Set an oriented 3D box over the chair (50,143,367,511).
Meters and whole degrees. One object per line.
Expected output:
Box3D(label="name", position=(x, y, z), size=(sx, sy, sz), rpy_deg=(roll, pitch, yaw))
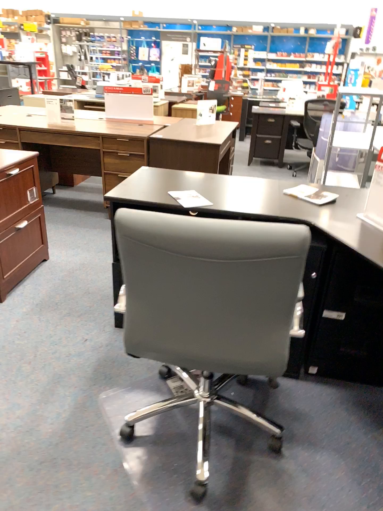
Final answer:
Box3D(label="chair", position=(0.069, 0.208, 1.314), size=(0.657, 0.962, 0.710), rpy_deg=(9, 27, 11))
